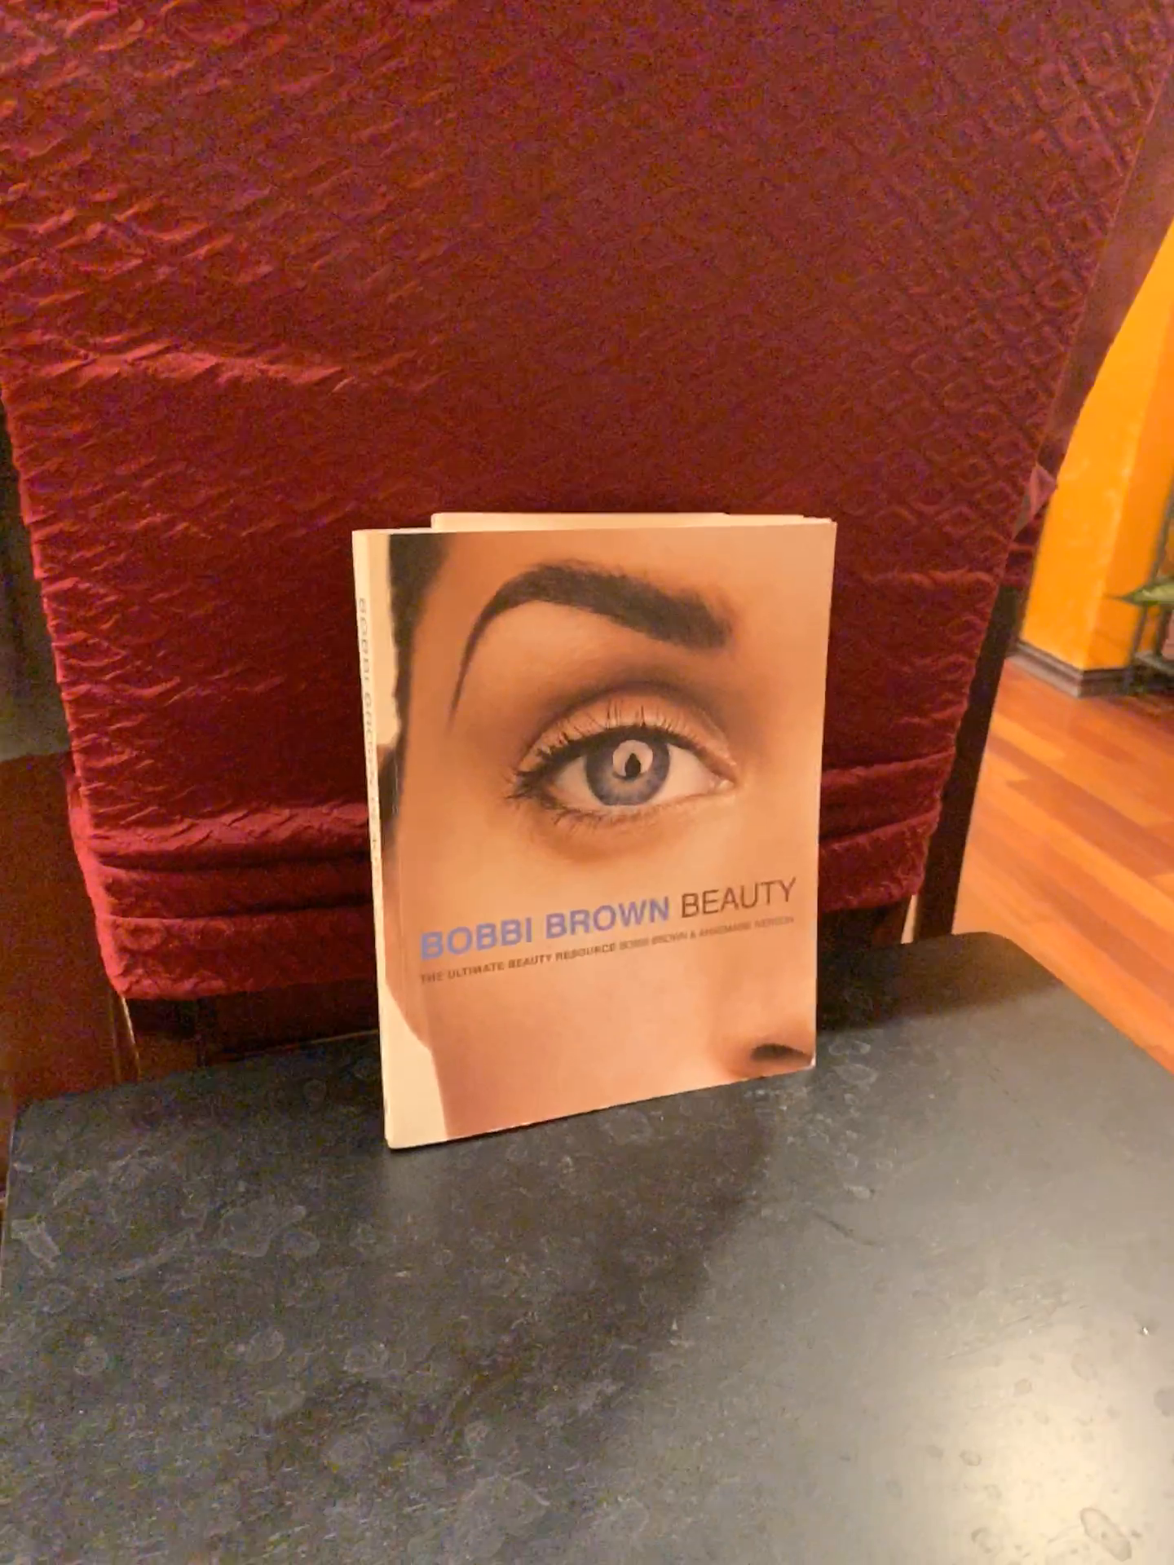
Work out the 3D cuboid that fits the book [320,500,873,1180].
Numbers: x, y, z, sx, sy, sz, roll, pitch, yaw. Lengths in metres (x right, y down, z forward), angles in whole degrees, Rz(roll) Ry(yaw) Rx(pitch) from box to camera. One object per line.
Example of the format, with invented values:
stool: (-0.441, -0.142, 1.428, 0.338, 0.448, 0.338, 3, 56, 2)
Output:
book: (0.009, 0.017, 0.463, 0.200, 0.239, 0.030, -6, 16, -19)
